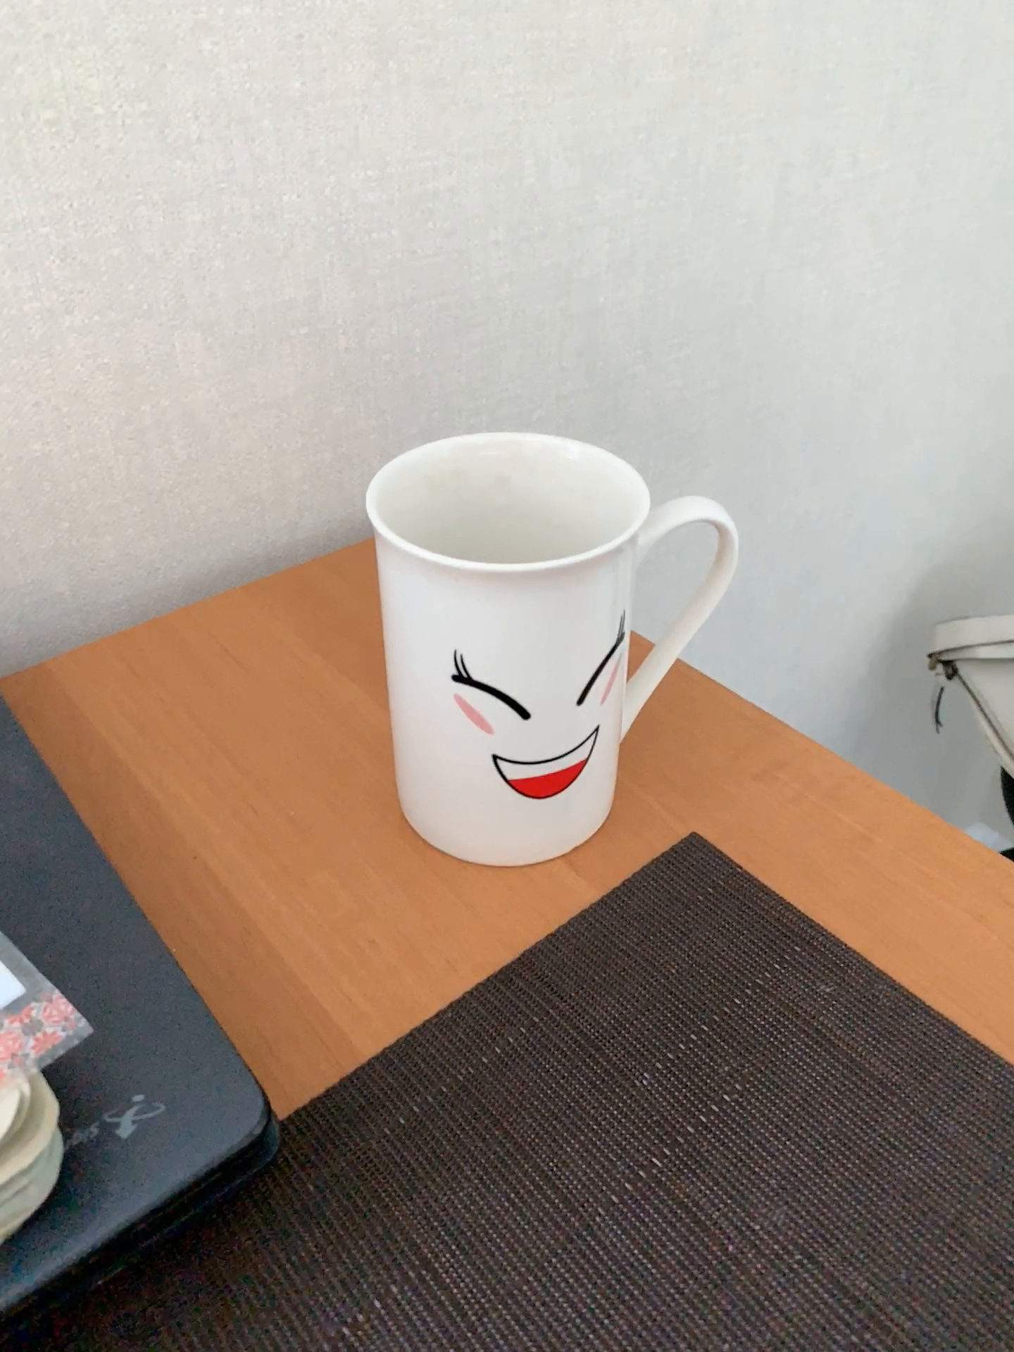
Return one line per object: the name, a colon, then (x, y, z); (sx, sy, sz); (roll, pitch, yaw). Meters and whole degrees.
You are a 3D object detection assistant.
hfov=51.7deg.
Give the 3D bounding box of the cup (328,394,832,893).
cup: (0.016, -0.014, 0.298); (0.107, 0.095, 0.080); (-13, 37, -17)
